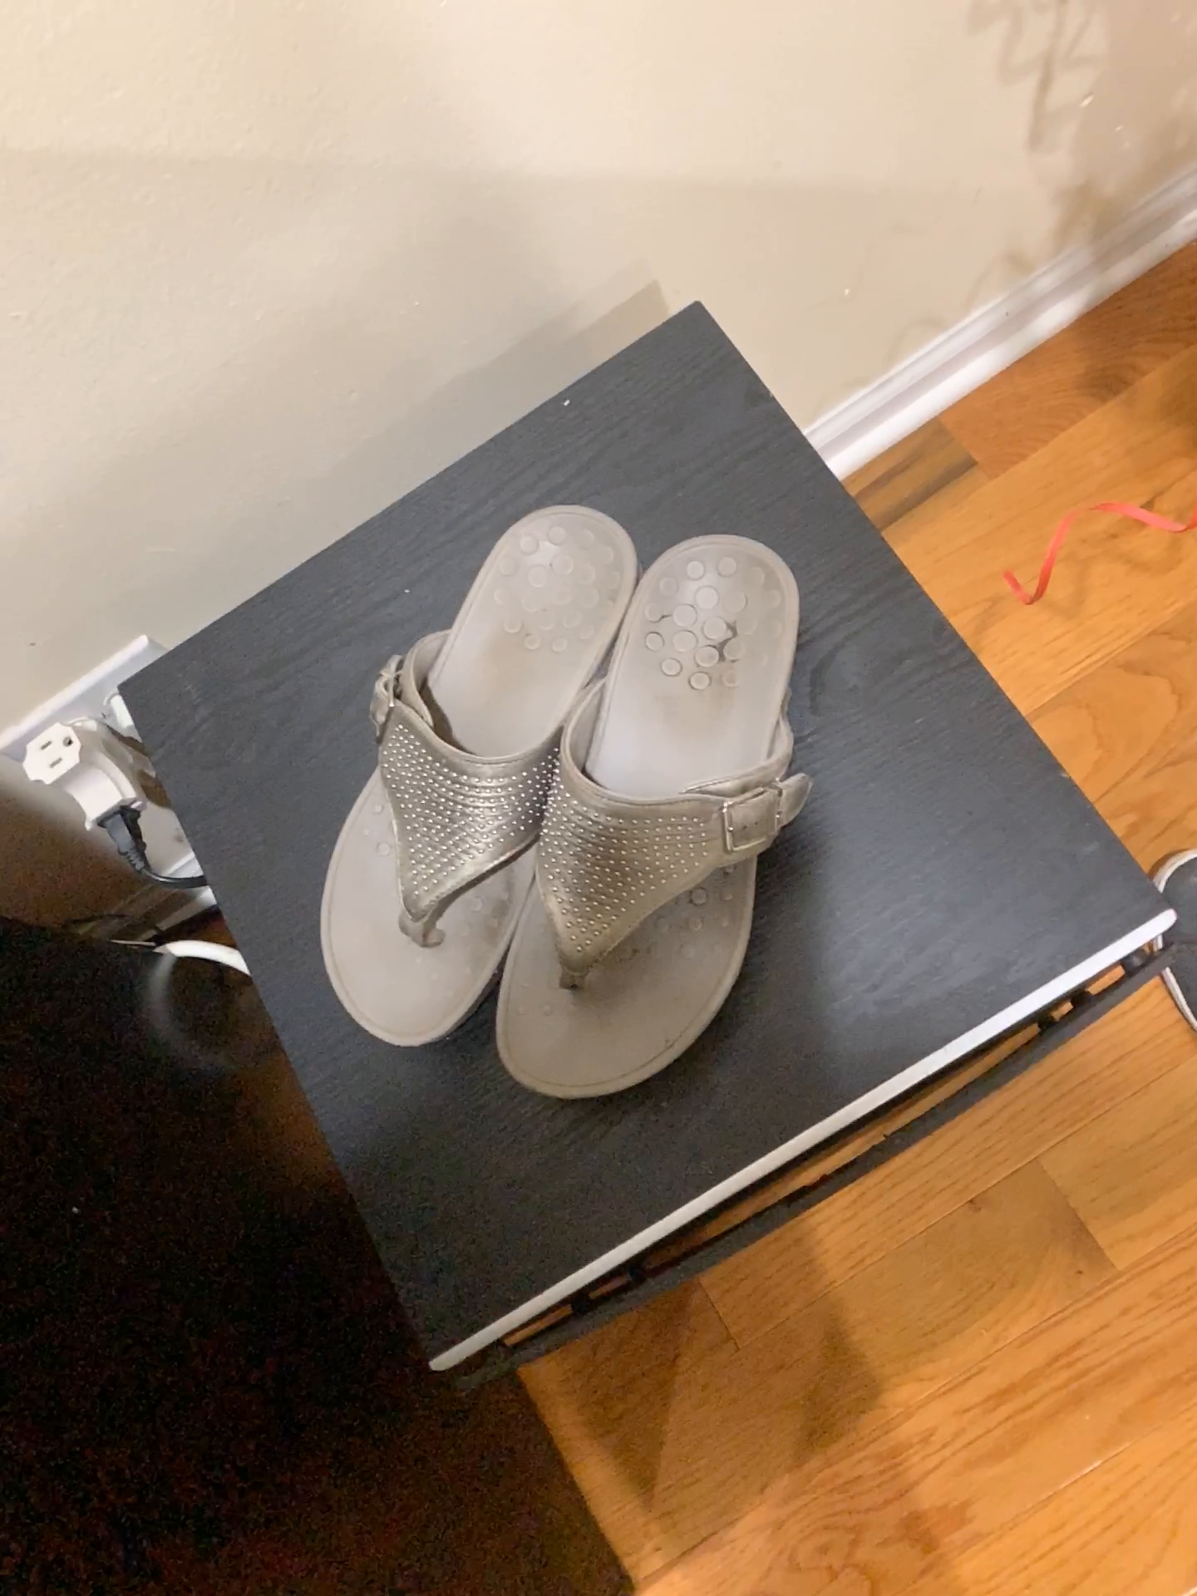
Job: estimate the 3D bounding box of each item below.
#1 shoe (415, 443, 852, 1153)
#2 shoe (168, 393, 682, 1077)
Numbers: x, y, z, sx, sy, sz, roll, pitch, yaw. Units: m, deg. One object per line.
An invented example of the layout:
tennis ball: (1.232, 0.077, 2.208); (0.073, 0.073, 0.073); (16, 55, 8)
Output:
shoe: (0.022, -0.002, 0.474); (0.108, 0.080, 0.248); (9, 78, 15)
shoe: (-0.062, -0.026, 0.499); (0.108, 0.080, 0.248); (16, 80, 17)
